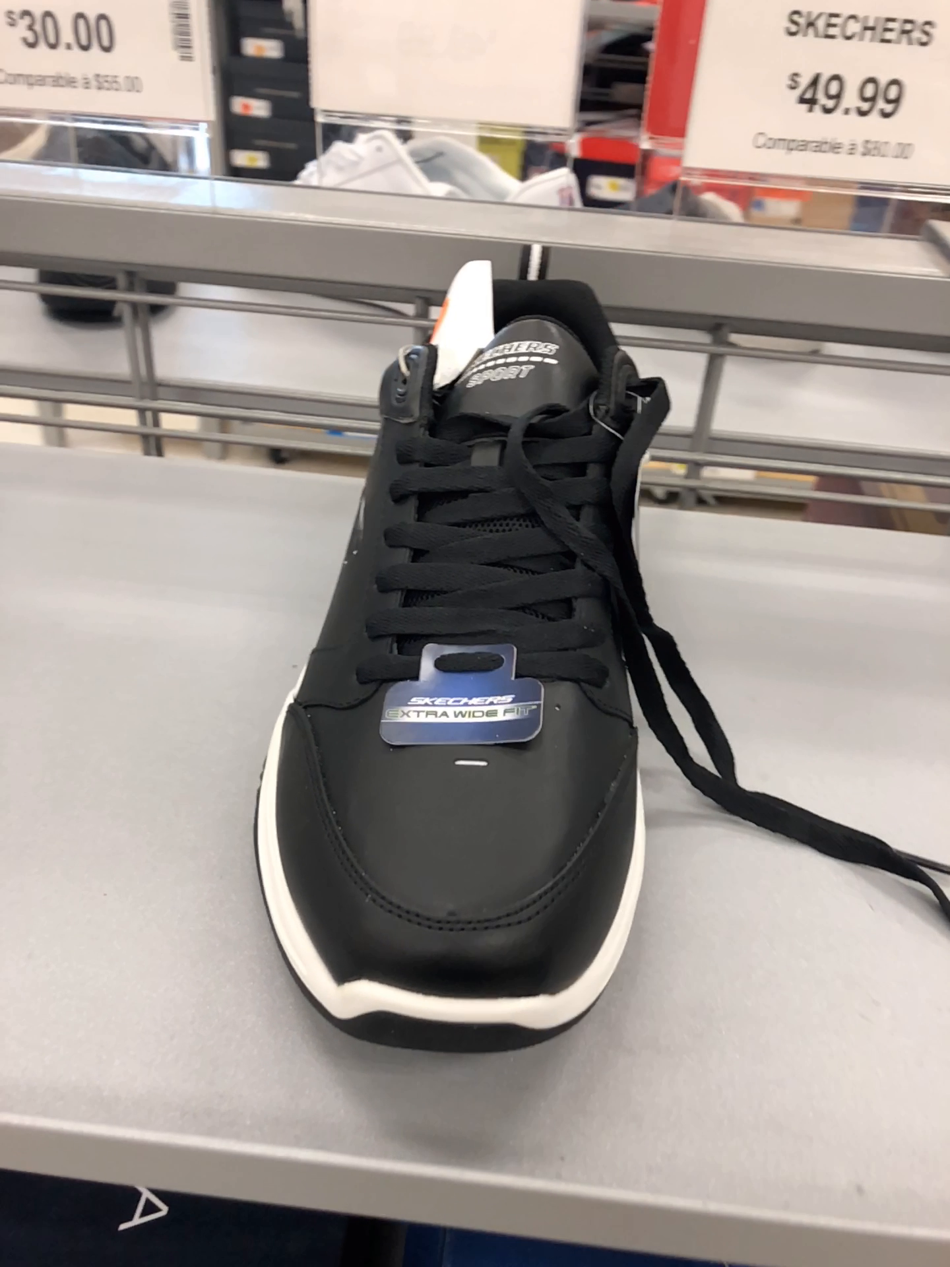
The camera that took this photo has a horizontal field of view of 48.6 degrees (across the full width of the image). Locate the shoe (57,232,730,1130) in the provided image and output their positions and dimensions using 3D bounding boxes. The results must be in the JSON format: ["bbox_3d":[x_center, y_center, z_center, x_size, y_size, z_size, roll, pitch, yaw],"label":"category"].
[{"bbox_3d":[-0.001,-0.031,0.374,0.130,0.109,0.353,6,37,3],"label":"shoe"}]
